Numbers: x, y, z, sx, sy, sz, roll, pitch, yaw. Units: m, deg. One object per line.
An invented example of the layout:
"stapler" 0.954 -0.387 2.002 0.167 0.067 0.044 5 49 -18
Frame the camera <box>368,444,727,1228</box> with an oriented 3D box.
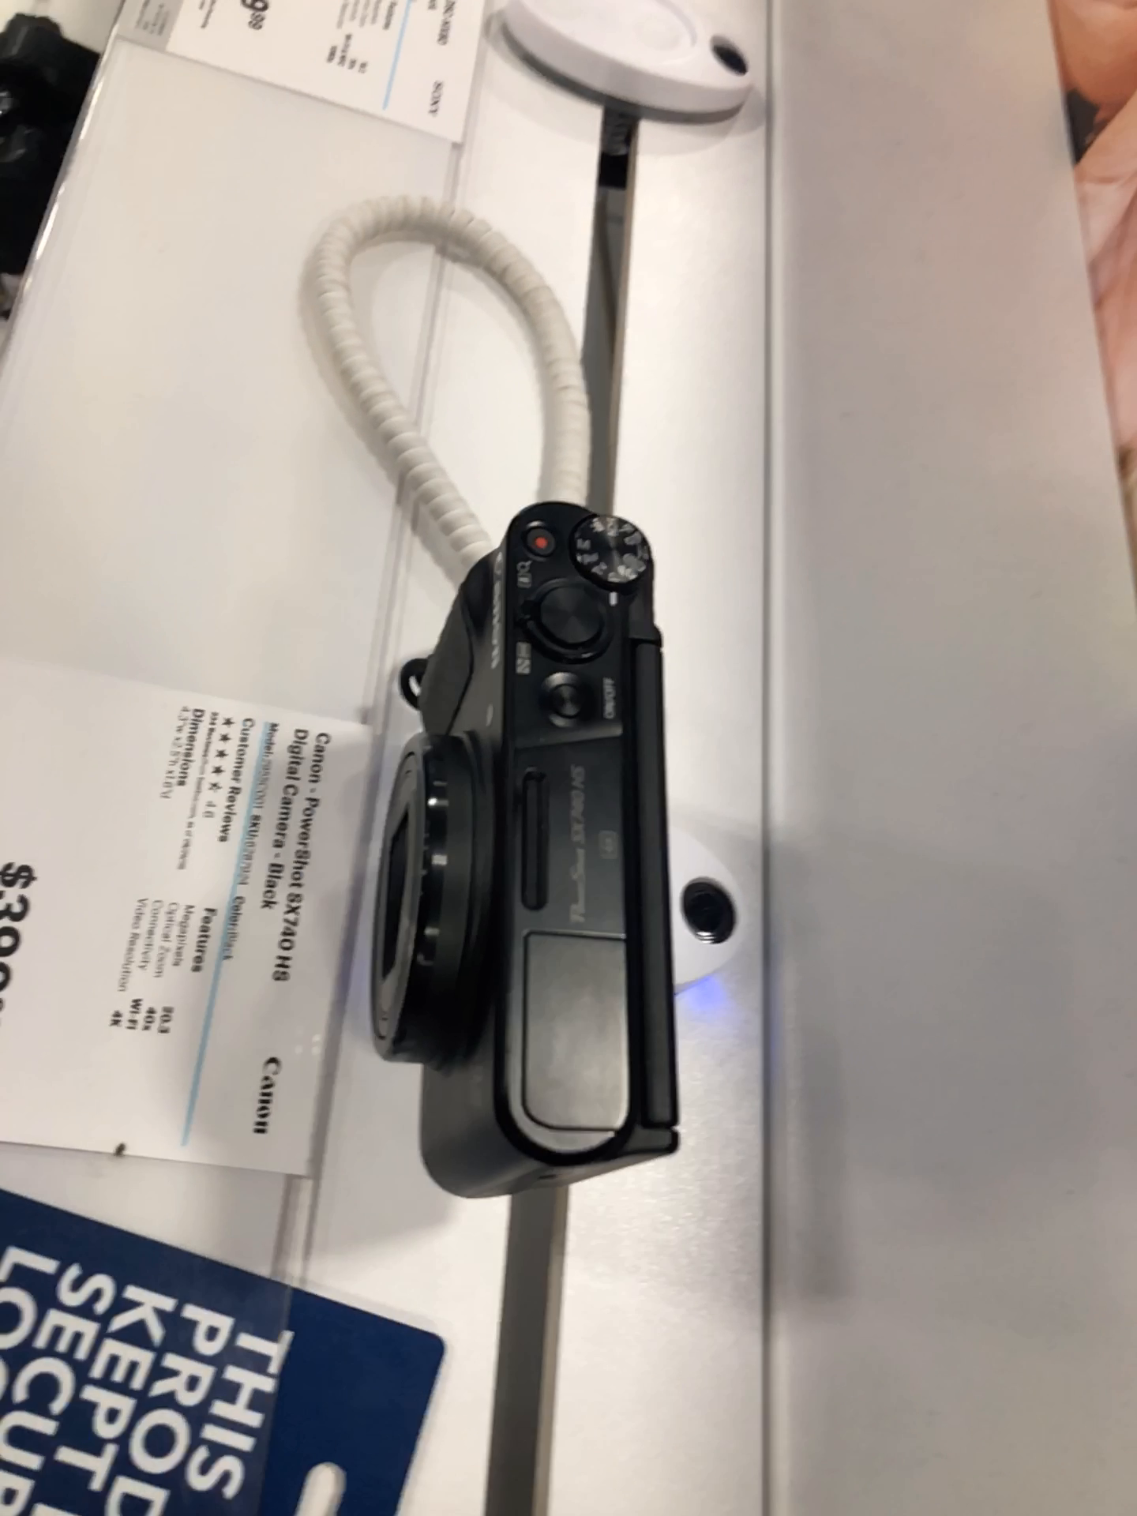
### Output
"camera" -0.008 0.017 0.226 0.040 0.070 0.120 6 64 -15
